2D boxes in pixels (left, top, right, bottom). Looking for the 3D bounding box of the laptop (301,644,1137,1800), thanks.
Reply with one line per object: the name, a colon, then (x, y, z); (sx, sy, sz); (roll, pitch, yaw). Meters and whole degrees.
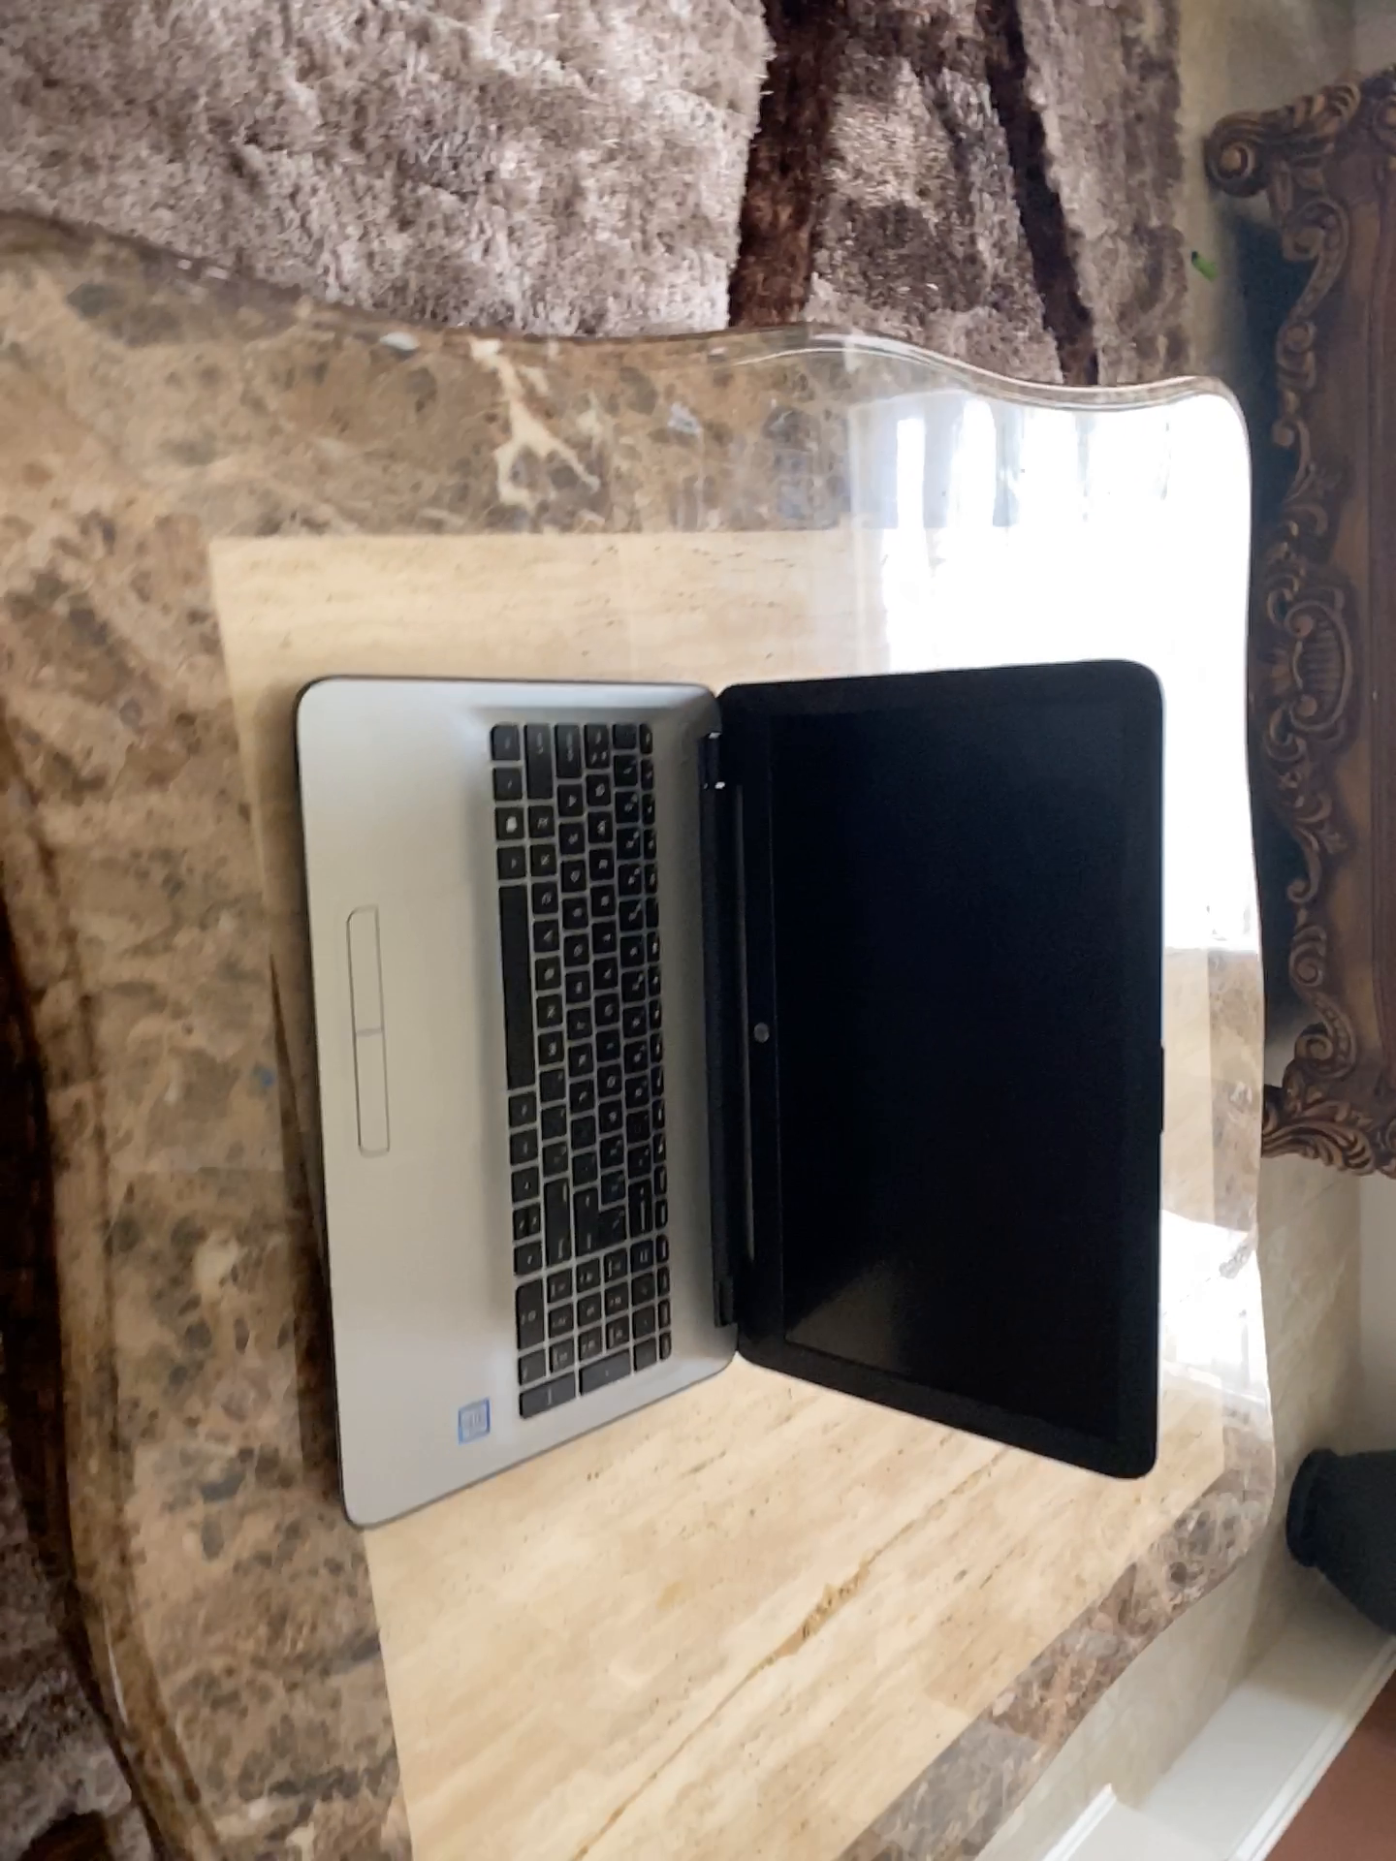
laptop: (0.018, 0.078, 0.620); (0.266, 0.240, 0.371); (-9, 101, -45)
